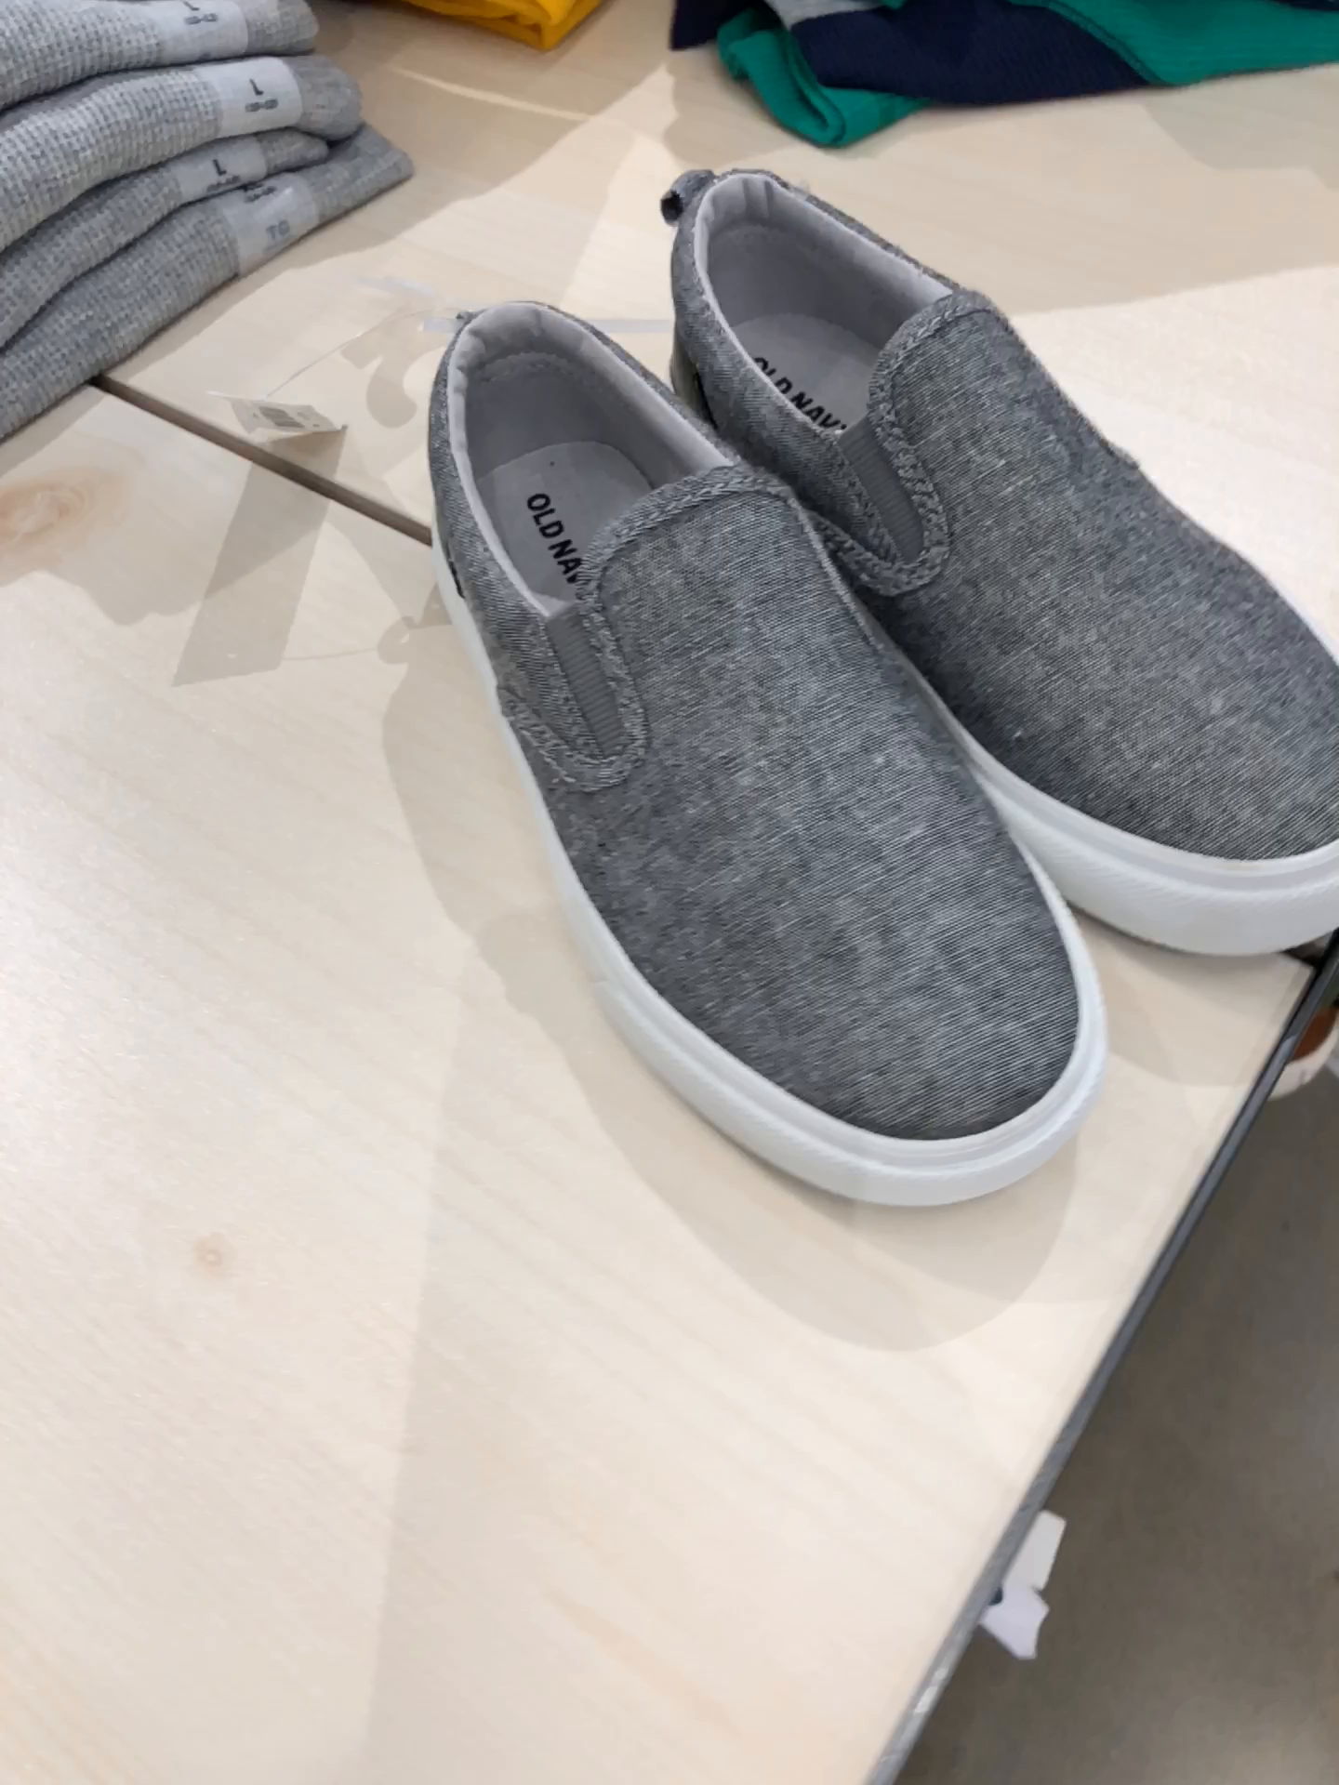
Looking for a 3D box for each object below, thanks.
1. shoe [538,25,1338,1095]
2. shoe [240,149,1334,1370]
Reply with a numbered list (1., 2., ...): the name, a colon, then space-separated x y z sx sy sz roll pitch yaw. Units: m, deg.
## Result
1. shoe: 0.073 -0.079 0.321 0.090 0.100 0.210 -32 59 -14
2. shoe: 0.008 -0.035 0.294 0.090 0.100 0.210 -27 58 -11
